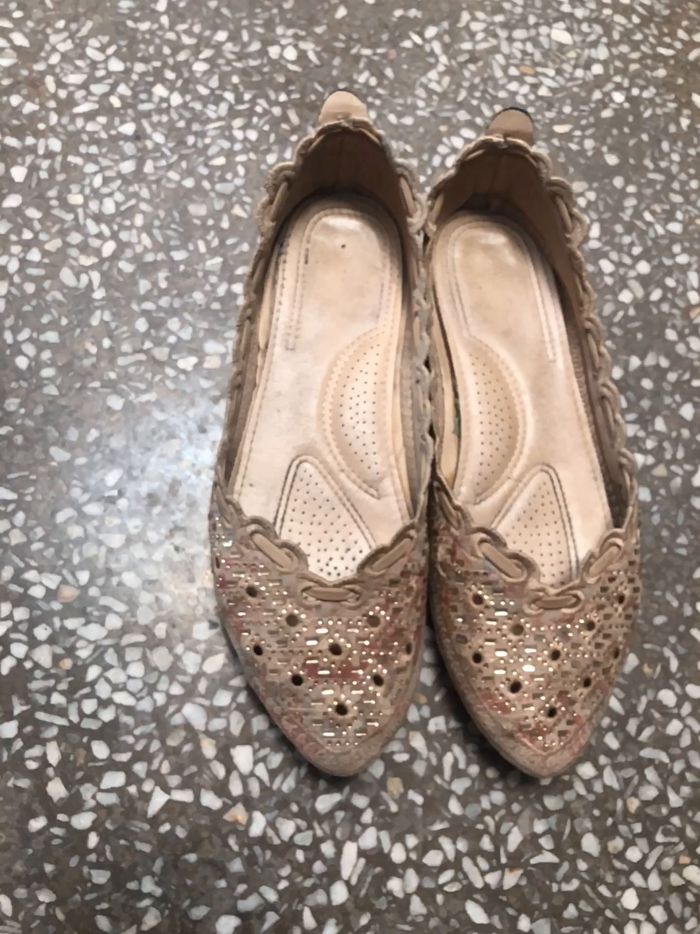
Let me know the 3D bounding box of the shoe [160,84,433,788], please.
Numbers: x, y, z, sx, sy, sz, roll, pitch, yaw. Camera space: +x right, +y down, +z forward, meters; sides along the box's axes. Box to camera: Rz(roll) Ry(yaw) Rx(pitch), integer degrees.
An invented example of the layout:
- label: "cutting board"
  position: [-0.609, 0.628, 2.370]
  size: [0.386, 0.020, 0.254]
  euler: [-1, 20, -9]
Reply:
- label: "shoe"
  position: [-0.021, -0.023, 0.320]
  size: [0.090, 0.040, 0.280]
  euler: [1, 73, -7]

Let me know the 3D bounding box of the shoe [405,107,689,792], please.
- label: "shoe"
  position: [0.073, -0.014, 0.325]
  size: [0.090, 0.040, 0.270]
  euler: [1, 77, -7]
